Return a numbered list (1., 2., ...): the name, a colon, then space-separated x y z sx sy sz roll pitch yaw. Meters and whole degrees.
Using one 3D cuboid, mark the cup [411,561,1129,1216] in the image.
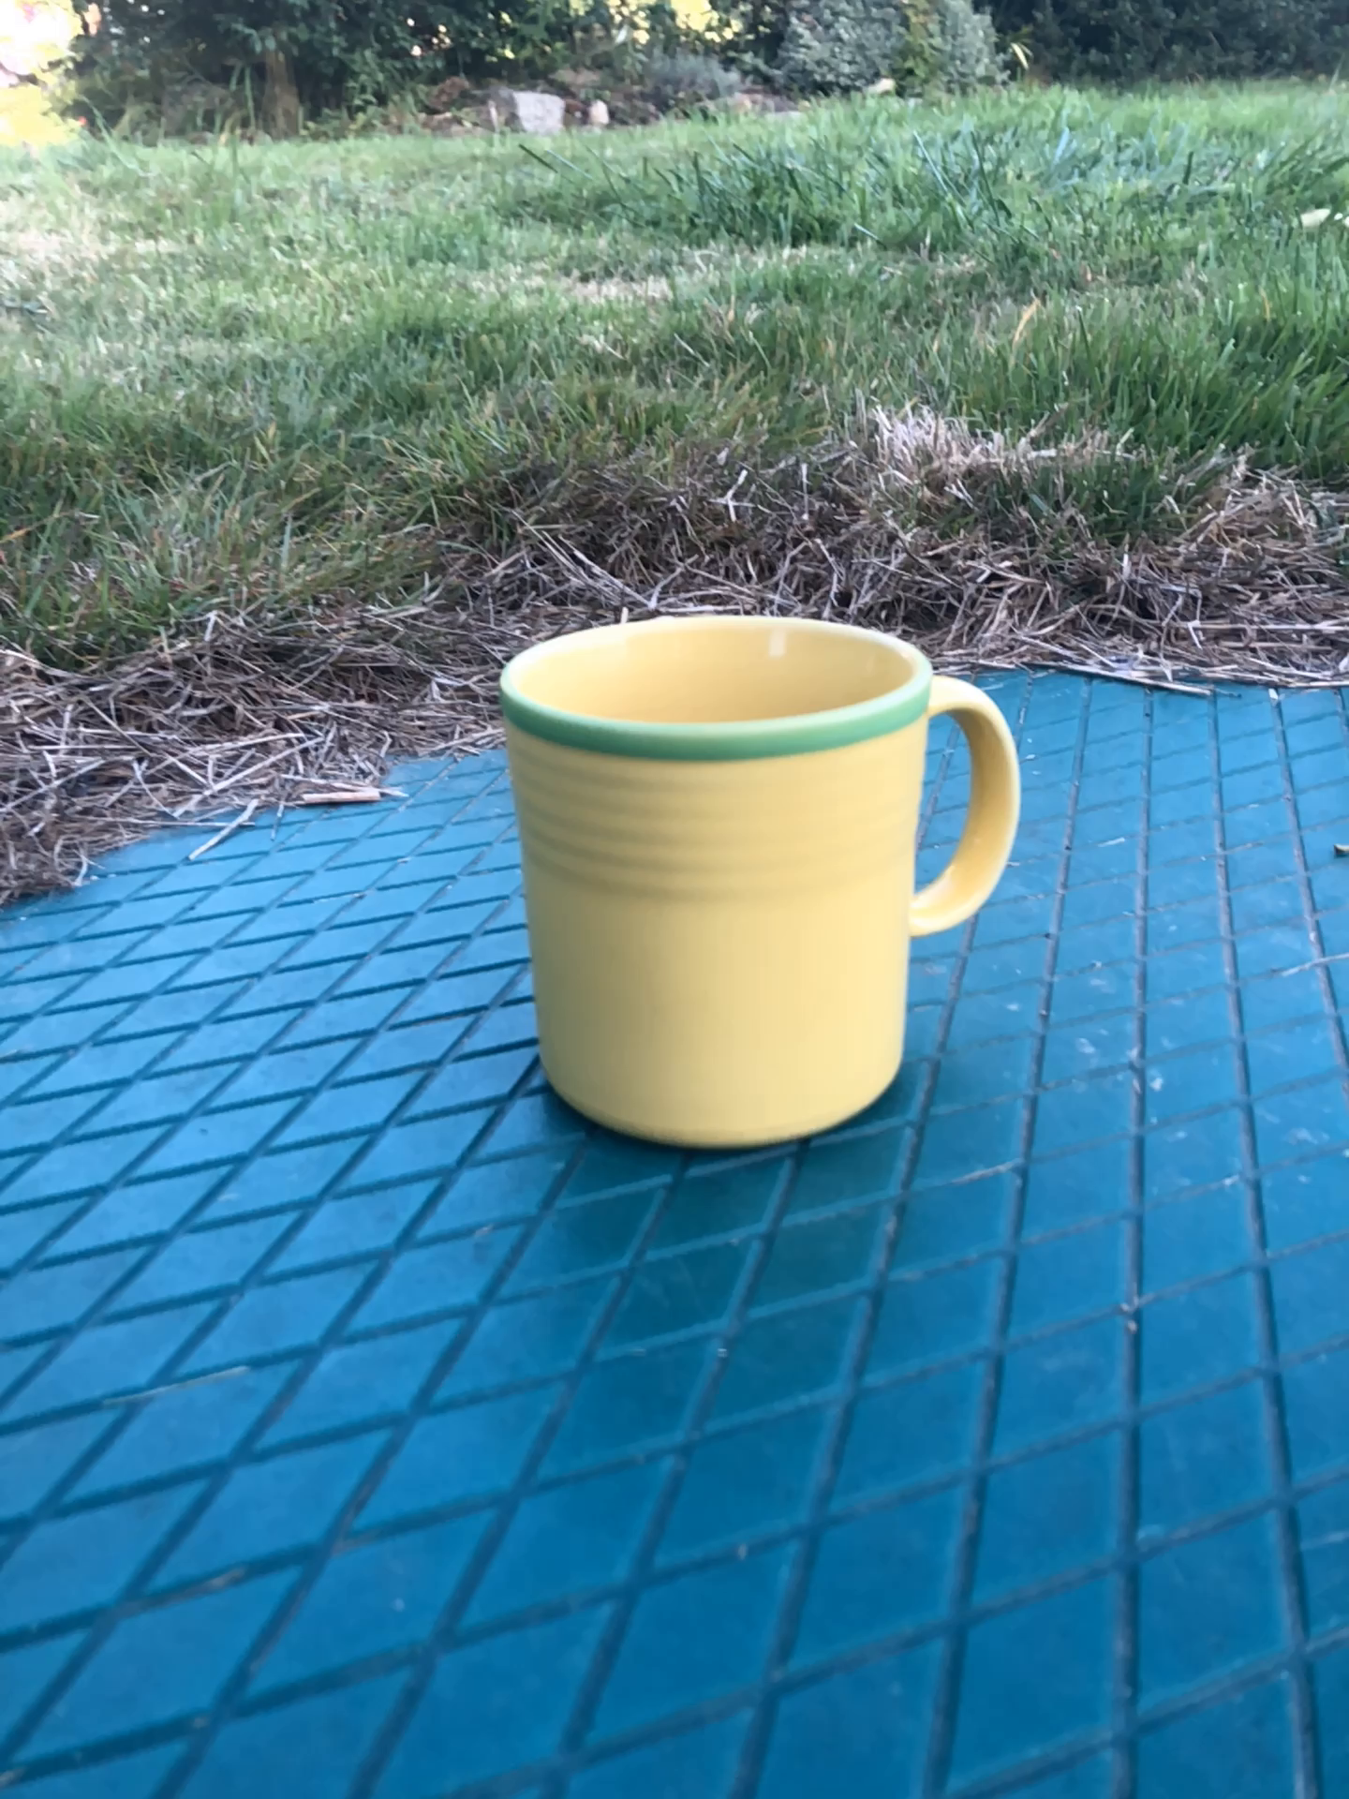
1. cup: 0.018 -0.011 0.312 0.115 0.090 0.086 -15 27 -23
